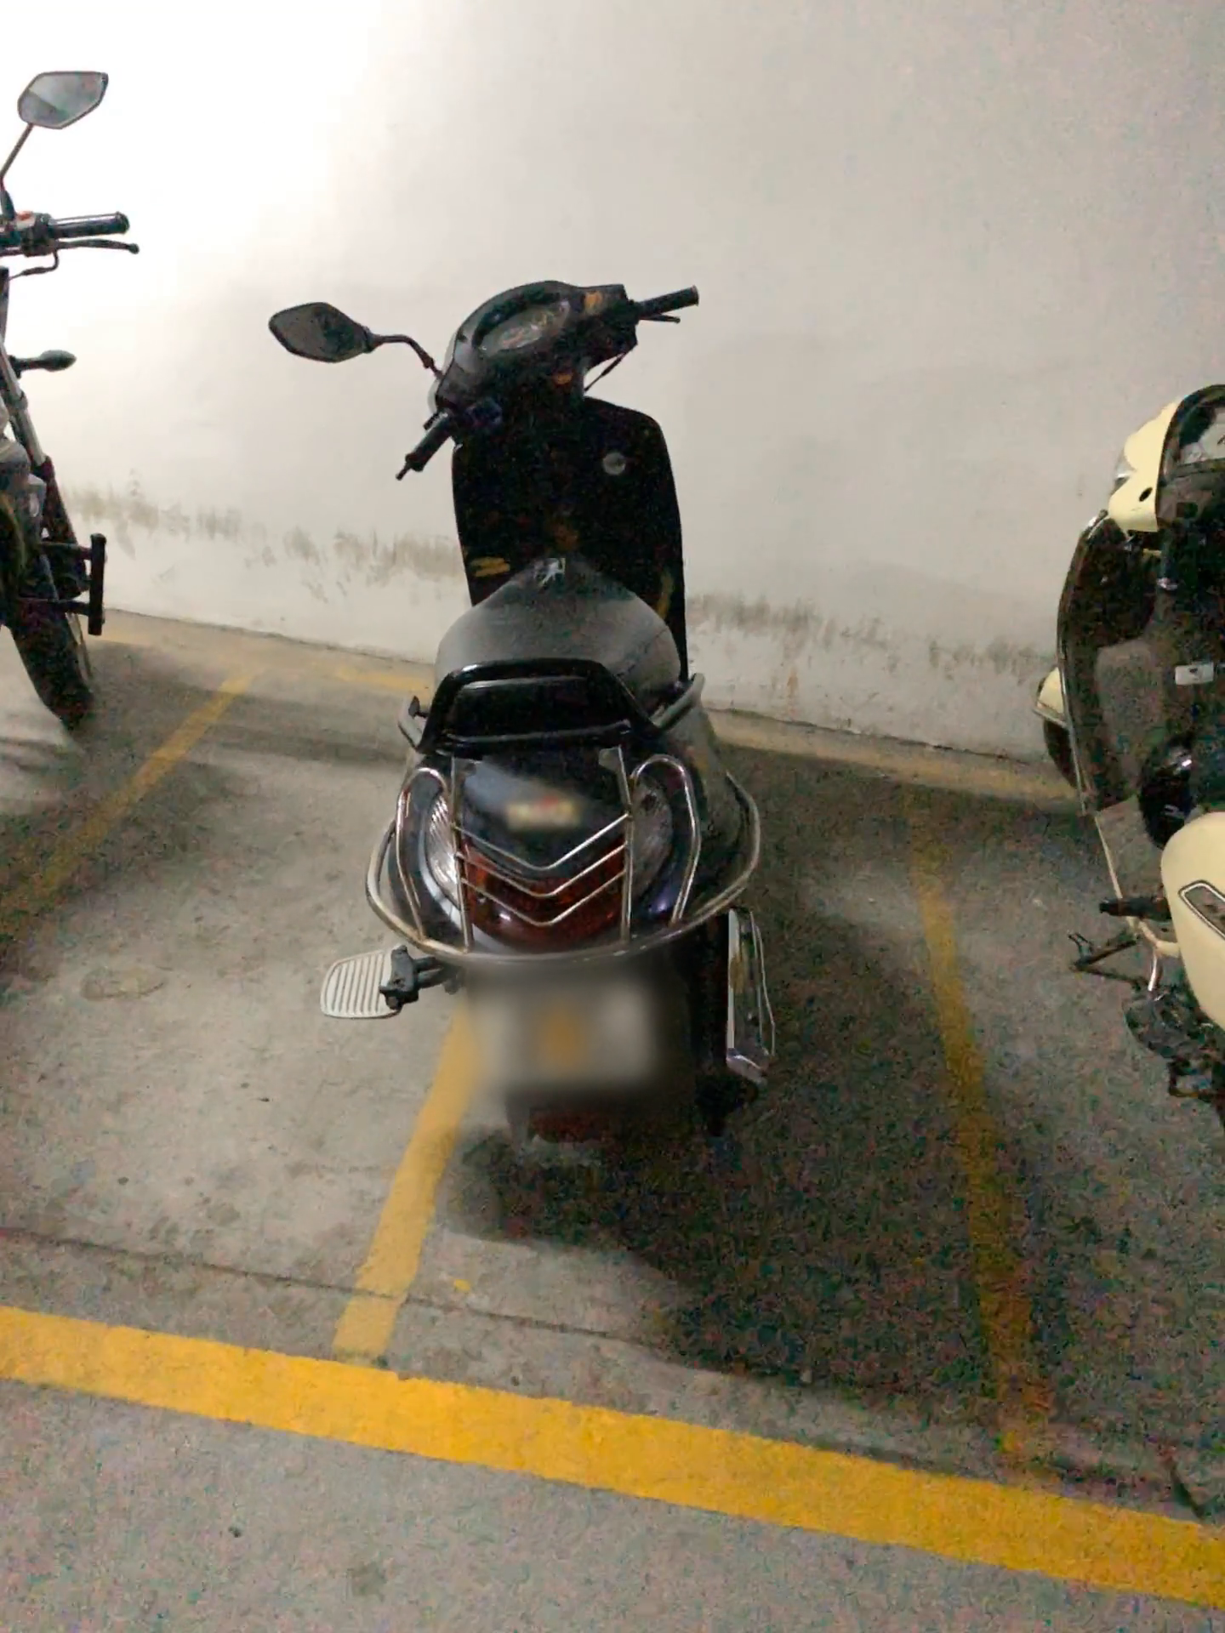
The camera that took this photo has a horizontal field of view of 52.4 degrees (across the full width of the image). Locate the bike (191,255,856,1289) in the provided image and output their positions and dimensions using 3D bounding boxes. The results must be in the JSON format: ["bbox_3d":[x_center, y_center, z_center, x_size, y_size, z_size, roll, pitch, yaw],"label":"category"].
[{"bbox_3d":[-0.199,-0.218,2.199,0.652,1.239,1.540,4,29,-6],"label":"bike"}]
